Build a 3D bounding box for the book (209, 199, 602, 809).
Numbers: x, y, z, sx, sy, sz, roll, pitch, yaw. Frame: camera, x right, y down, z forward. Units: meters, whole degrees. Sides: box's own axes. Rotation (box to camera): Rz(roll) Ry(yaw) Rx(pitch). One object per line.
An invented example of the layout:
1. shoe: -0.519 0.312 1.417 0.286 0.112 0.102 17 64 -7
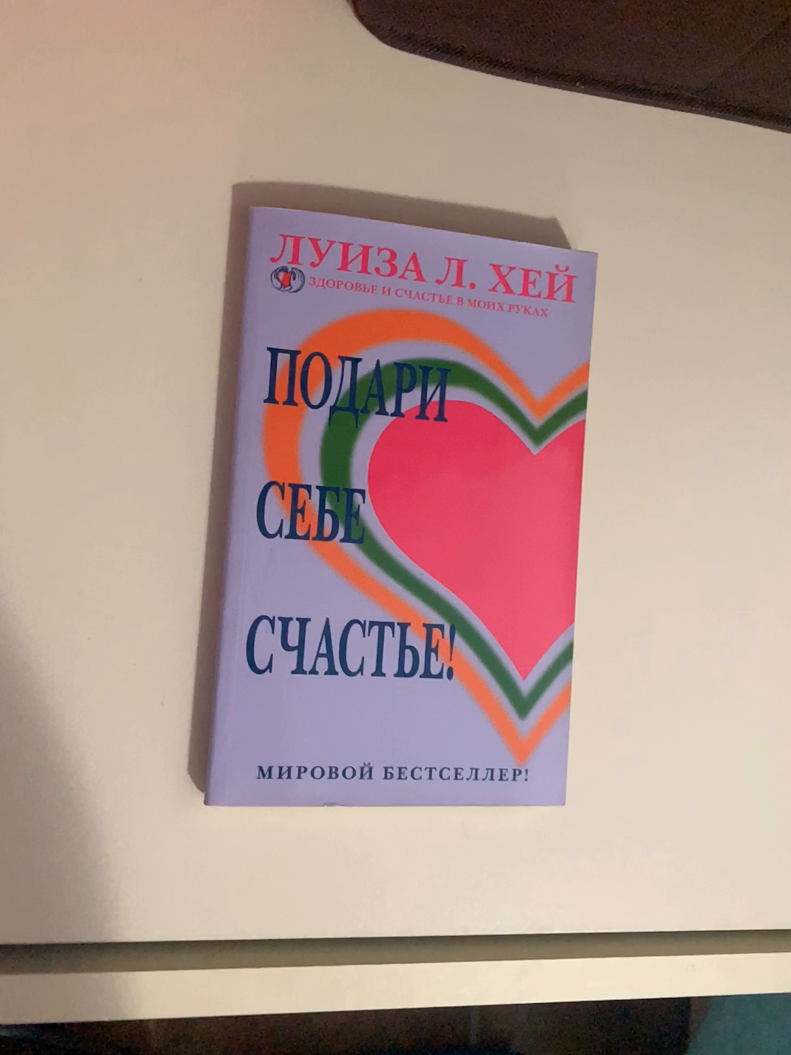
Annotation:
1. book: 0.006 -0.005 0.279 0.123 0.016 0.194 4 88 -12
